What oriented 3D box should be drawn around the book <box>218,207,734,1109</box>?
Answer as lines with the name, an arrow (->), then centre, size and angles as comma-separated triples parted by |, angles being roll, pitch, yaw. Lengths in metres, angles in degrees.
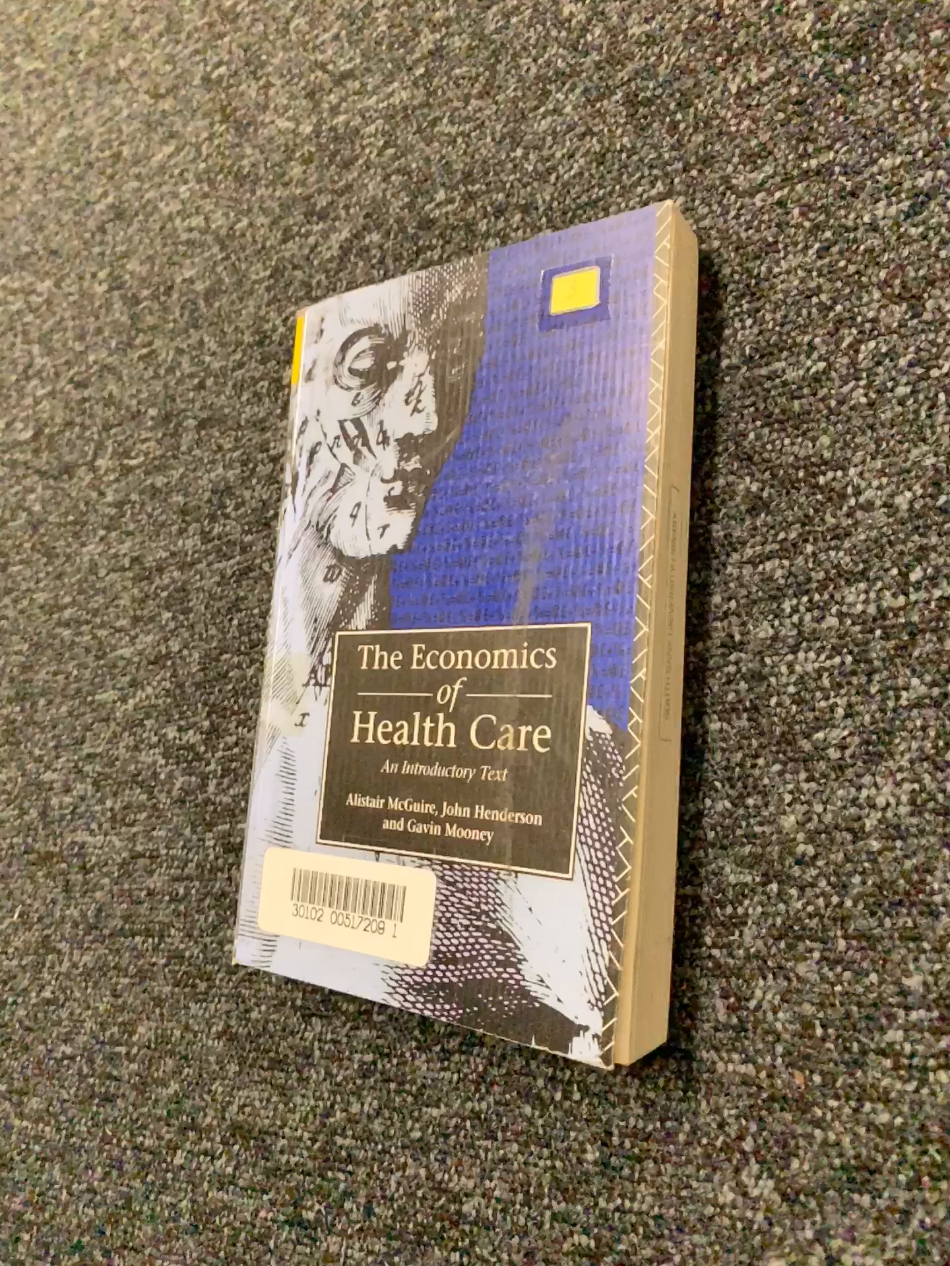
book -> -0.003, 0.002, 0.274 | 0.136, 0.030, 0.207 | -1, 80, 36
